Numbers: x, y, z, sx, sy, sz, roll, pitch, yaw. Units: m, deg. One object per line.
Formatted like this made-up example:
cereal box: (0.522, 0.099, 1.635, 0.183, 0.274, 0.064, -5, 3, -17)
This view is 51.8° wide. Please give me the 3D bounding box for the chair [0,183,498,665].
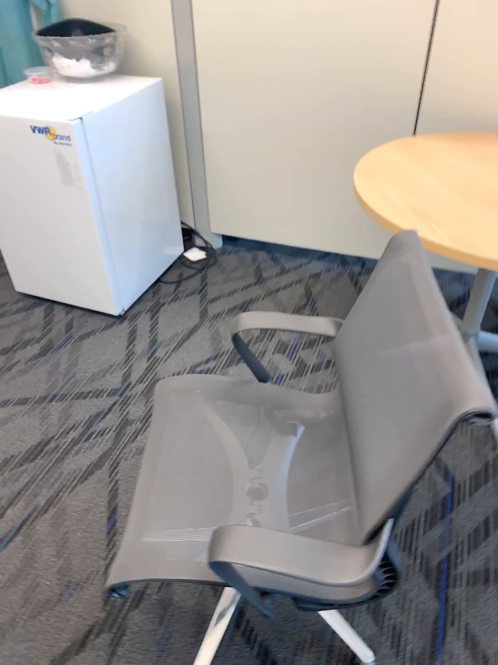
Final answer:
chair: (-0.025, 0.212, 1.003, 0.700, 0.753, 0.686, 0, 38, 2)
